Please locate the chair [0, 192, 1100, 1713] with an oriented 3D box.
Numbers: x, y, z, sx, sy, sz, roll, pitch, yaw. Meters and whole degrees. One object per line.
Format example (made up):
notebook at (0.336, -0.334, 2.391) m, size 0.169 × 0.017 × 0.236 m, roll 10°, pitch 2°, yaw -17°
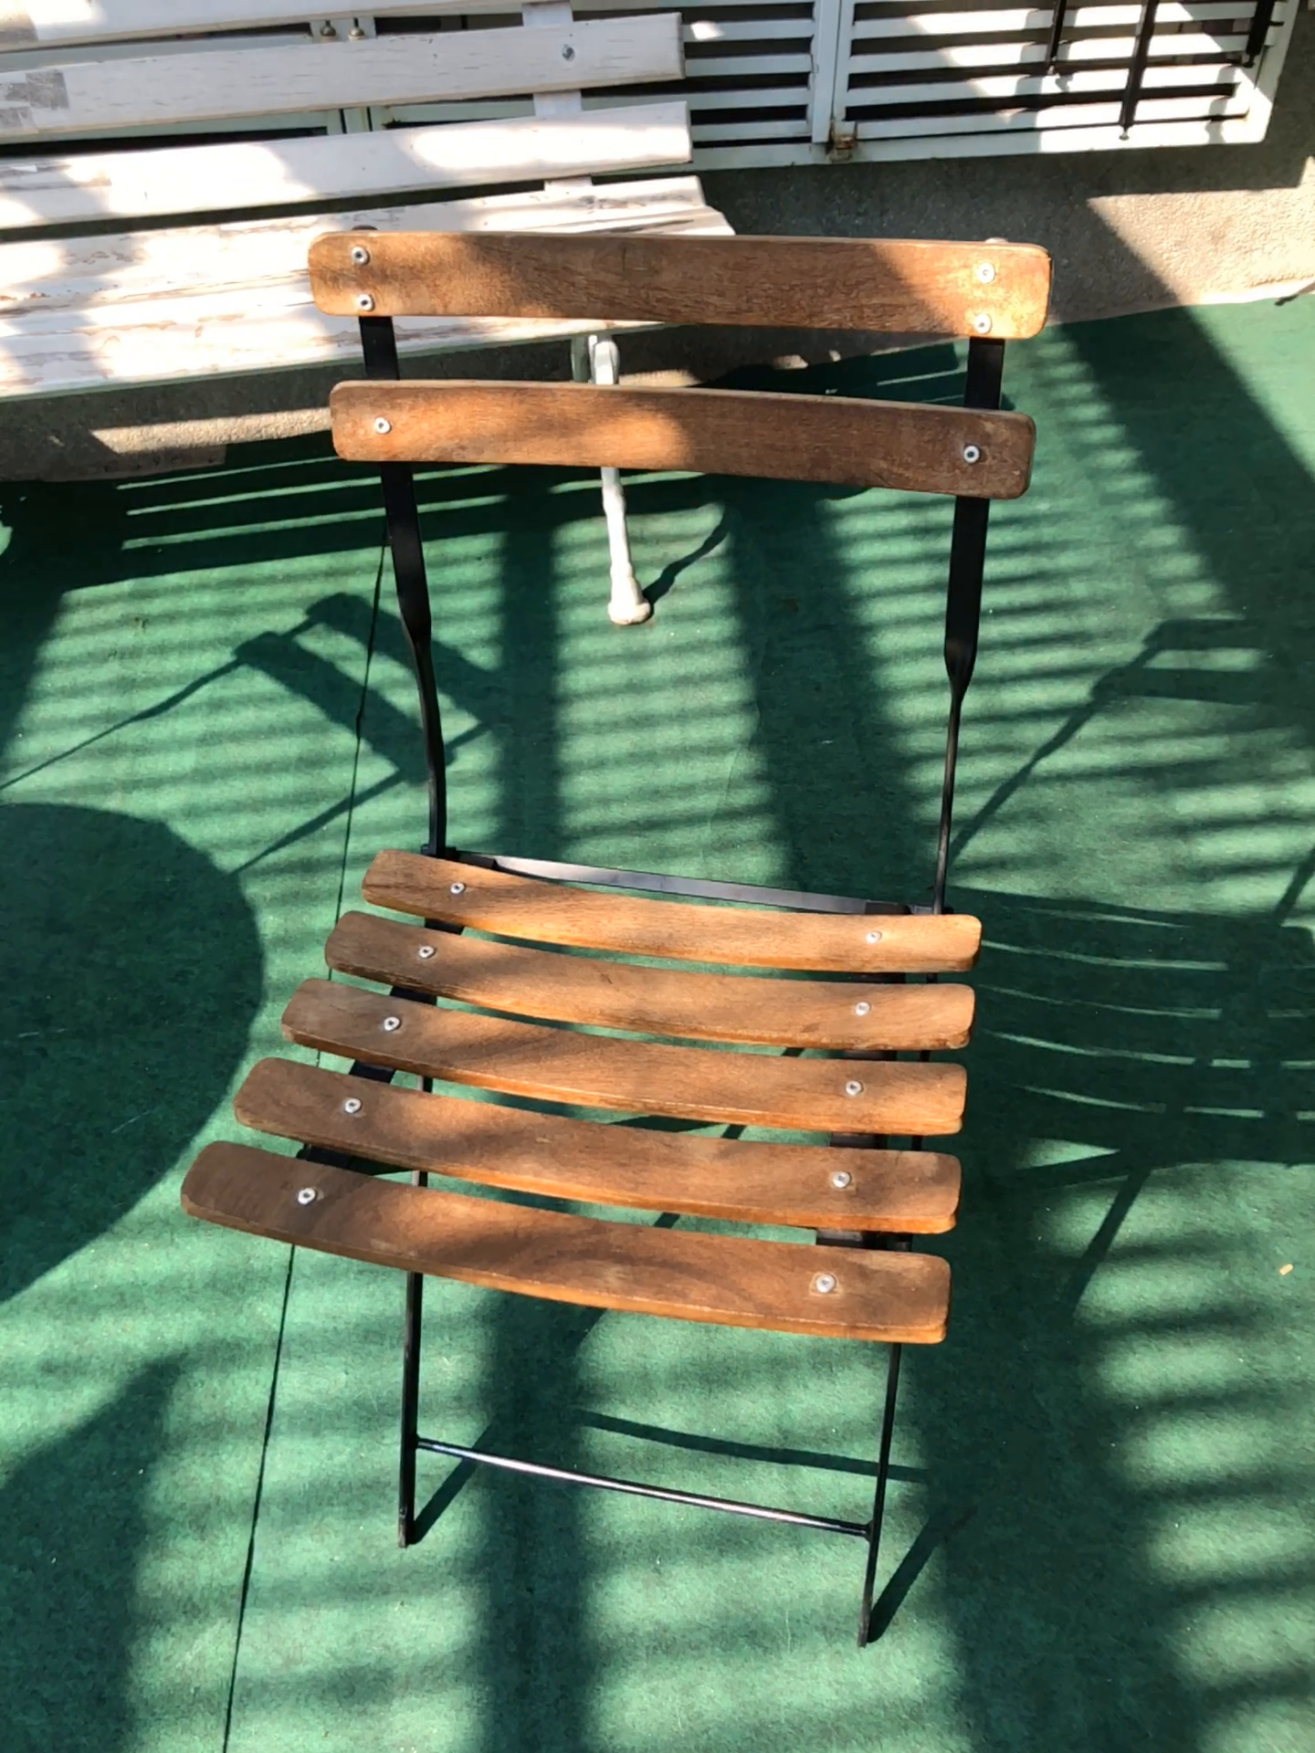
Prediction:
chair at (-0.024, 0.064, 0.748) m, size 0.390 × 0.656 × 0.402 m, roll 7°, pitch 45°, yaw 12°
